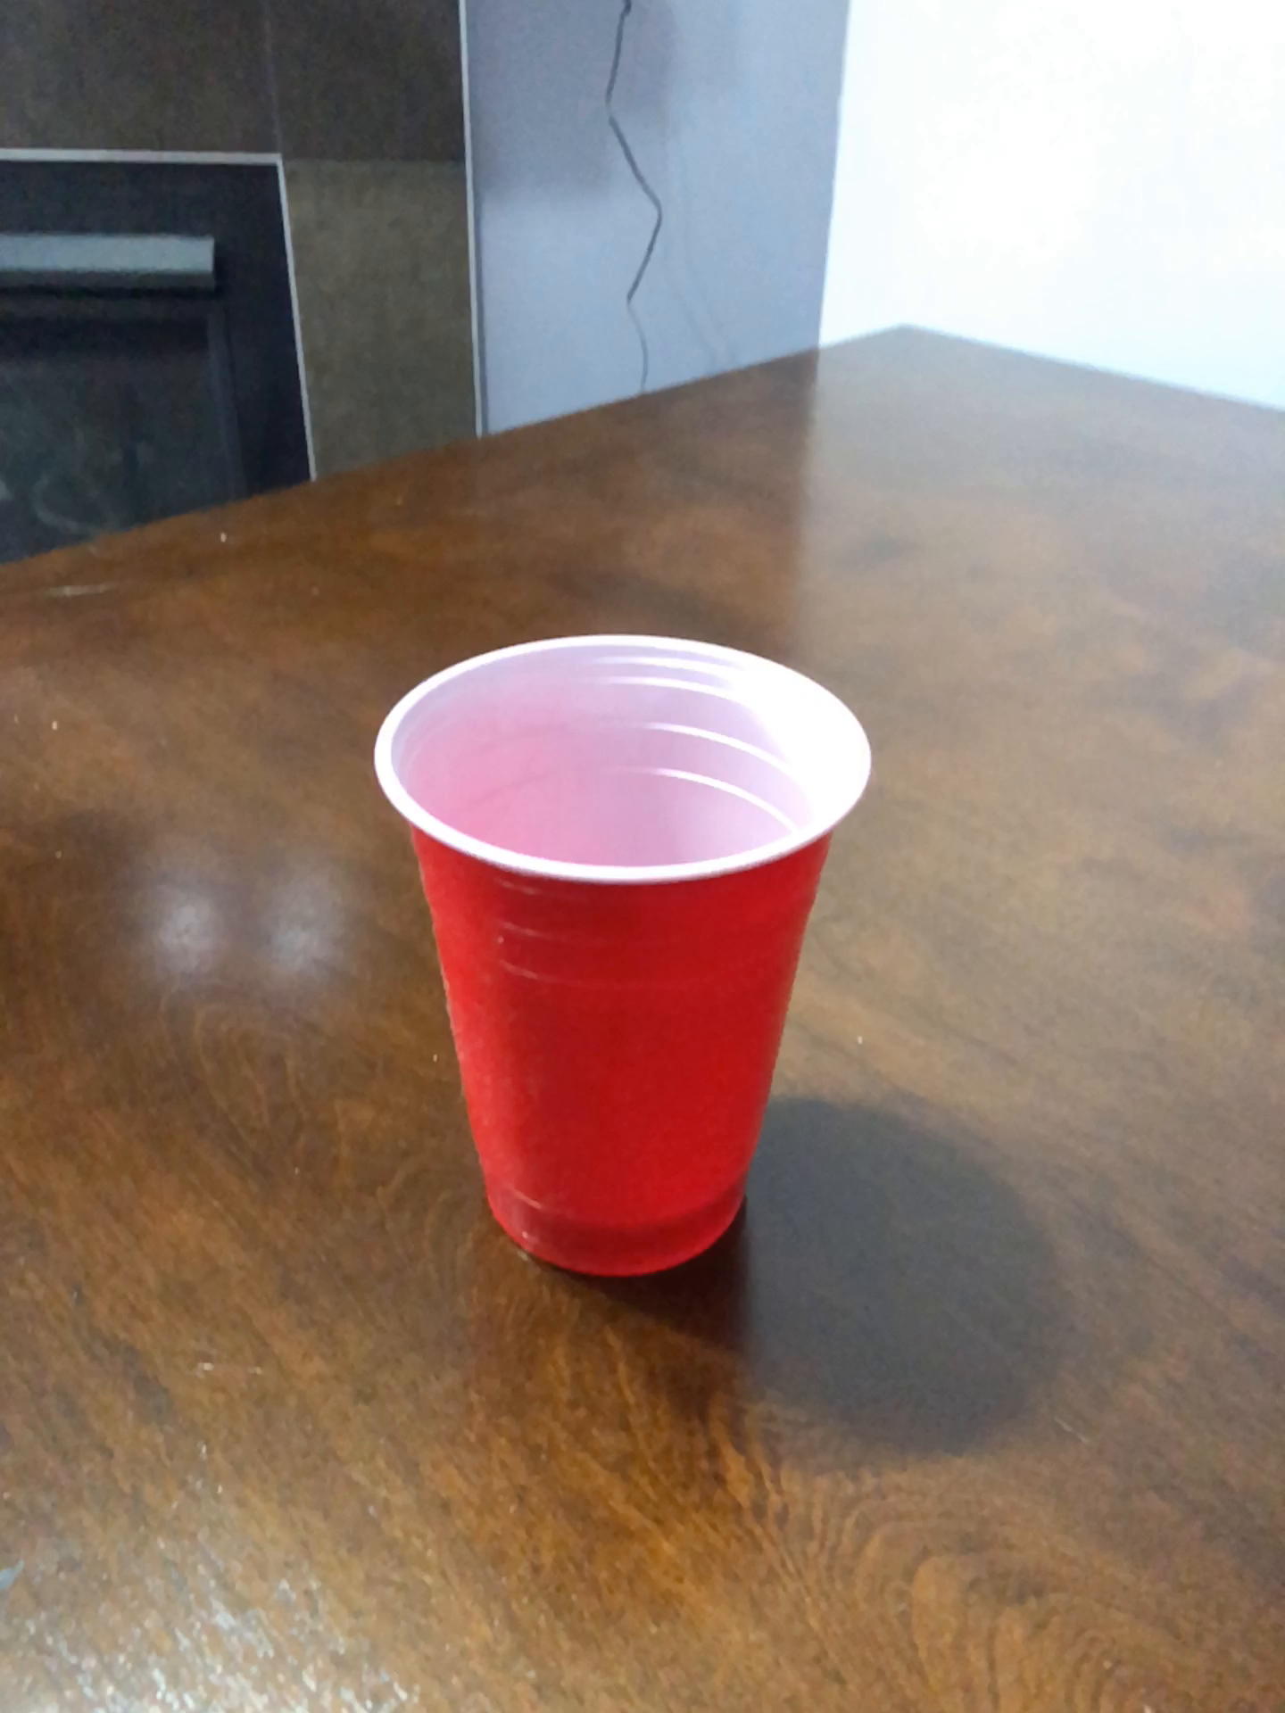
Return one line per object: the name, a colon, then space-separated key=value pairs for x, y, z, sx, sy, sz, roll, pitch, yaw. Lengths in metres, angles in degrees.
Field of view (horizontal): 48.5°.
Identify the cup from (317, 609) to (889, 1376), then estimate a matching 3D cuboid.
cup: x=-0.004 y=0.025 z=0.292 sx=0.090 sy=0.120 sz=0.090 roll=1 pitch=31 yaw=-1
